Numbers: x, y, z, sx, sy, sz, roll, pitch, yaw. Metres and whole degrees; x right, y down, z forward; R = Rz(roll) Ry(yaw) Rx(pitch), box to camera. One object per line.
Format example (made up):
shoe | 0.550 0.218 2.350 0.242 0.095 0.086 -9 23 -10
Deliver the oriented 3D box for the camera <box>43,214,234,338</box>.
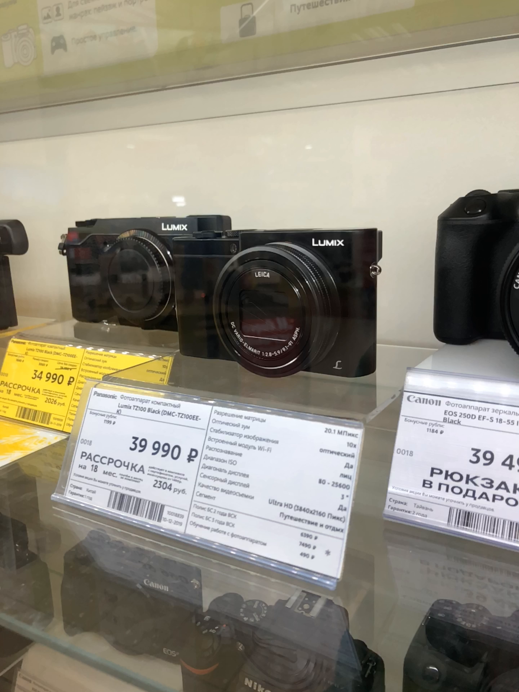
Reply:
camera | -0.078 -0.049 0.375 0.108 0.068 0.055 6 15 30

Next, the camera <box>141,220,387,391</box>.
camera | 0.001 -0.024 0.277 0.111 0.068 0.038 6 15 30

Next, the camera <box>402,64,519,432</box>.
camera | 0.168 -0.051 0.264 0.157 0.099 0.164 6 17 30
